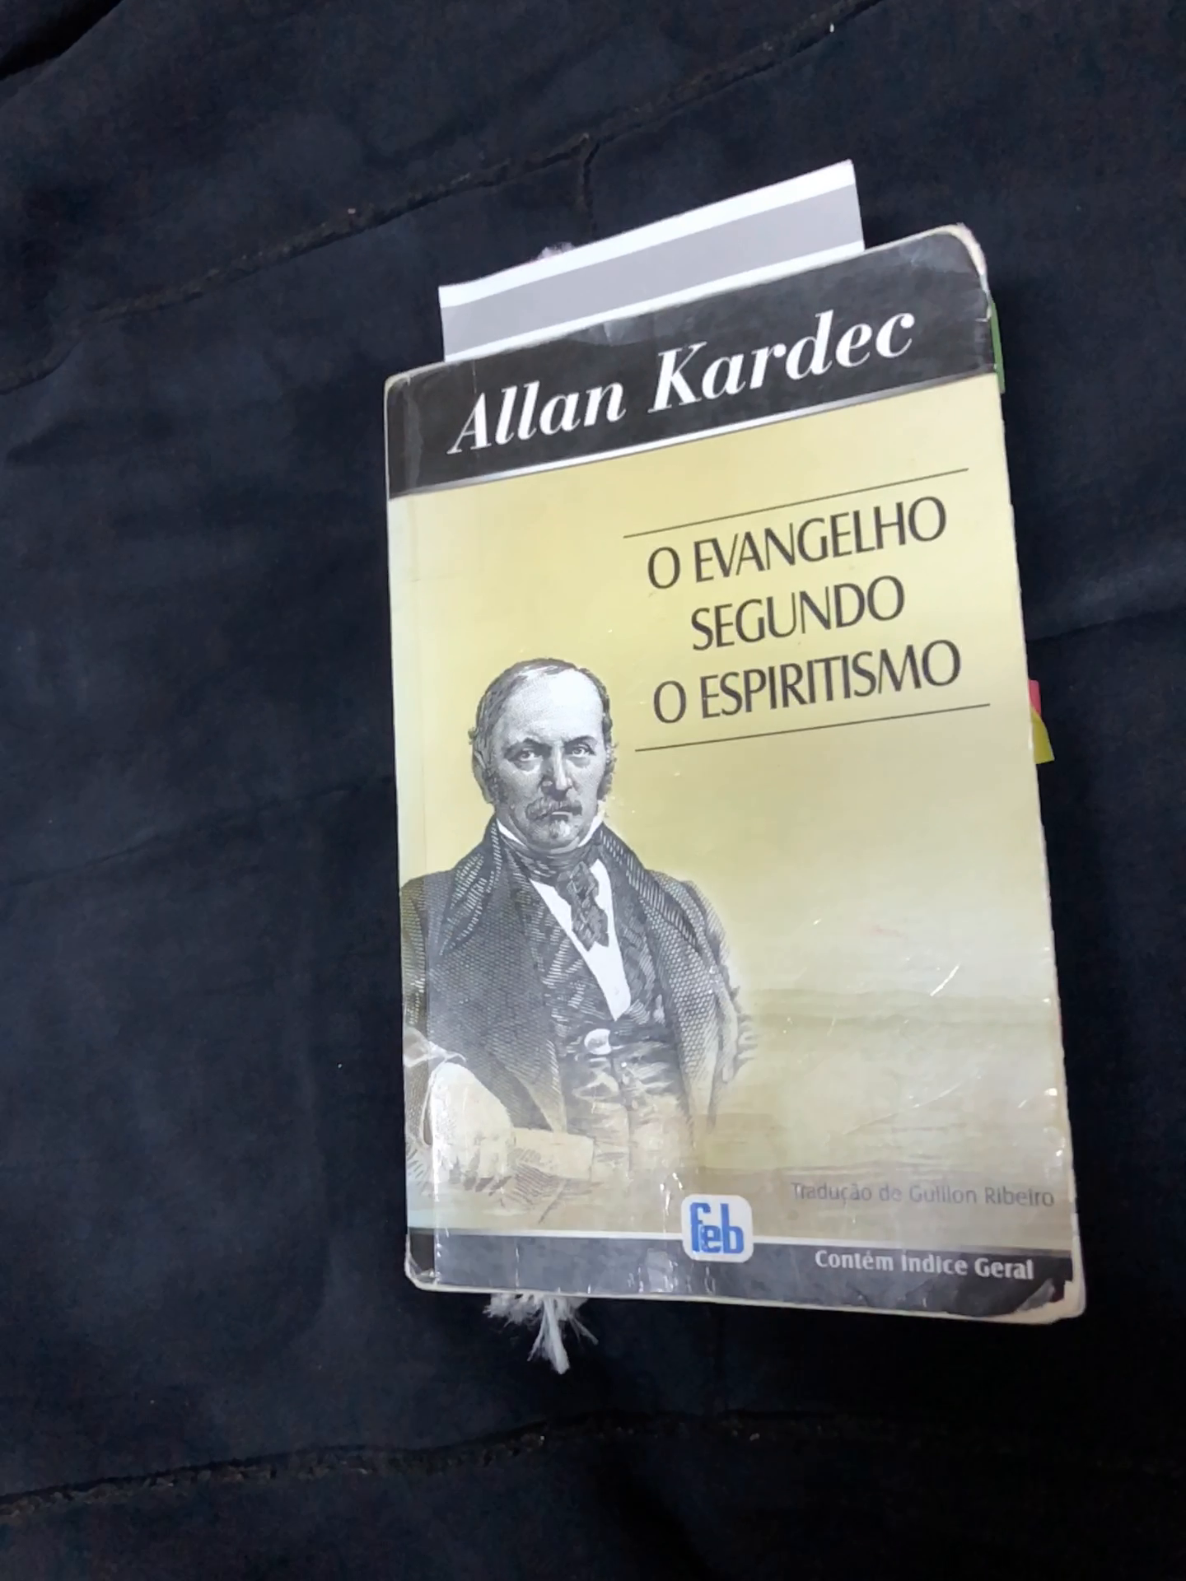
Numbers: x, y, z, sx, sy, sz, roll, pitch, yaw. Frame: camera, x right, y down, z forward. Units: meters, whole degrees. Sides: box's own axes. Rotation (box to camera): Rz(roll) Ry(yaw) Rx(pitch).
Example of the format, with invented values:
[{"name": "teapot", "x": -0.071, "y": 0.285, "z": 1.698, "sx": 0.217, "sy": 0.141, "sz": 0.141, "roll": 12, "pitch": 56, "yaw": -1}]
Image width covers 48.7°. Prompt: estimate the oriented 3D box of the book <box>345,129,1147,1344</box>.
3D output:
[{"name": "book", "x": 0.024, "y": -0.006, "z": 0.287, "sx": 0.150, "sy": 0.050, "sz": 0.220, "roll": -8, "pitch": 79, "yaw": 25}]
